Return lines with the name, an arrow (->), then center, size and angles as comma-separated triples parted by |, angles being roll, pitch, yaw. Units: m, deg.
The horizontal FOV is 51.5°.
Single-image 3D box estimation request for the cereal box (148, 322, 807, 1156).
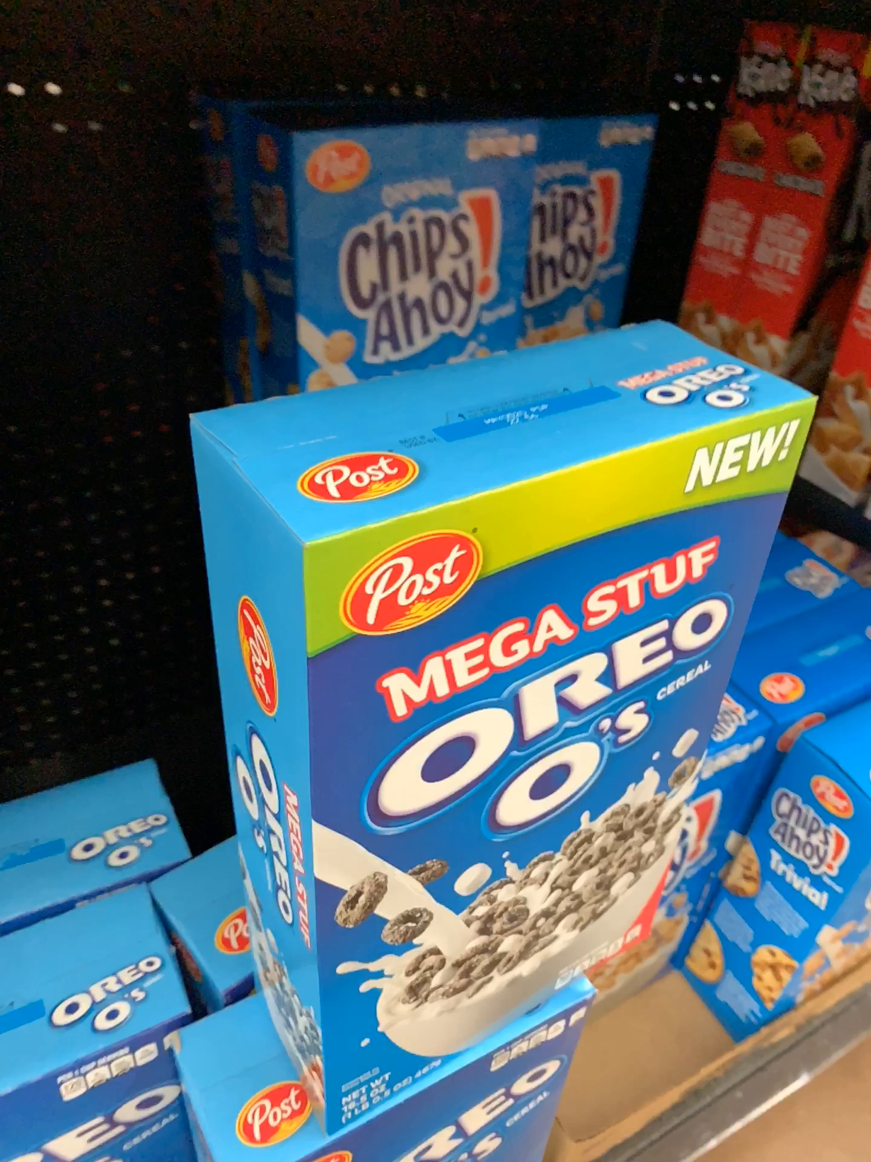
cereal box -> 0.015, 0.068, 0.369 | 0.200, 0.299, 0.080 | -19, 40, -29
